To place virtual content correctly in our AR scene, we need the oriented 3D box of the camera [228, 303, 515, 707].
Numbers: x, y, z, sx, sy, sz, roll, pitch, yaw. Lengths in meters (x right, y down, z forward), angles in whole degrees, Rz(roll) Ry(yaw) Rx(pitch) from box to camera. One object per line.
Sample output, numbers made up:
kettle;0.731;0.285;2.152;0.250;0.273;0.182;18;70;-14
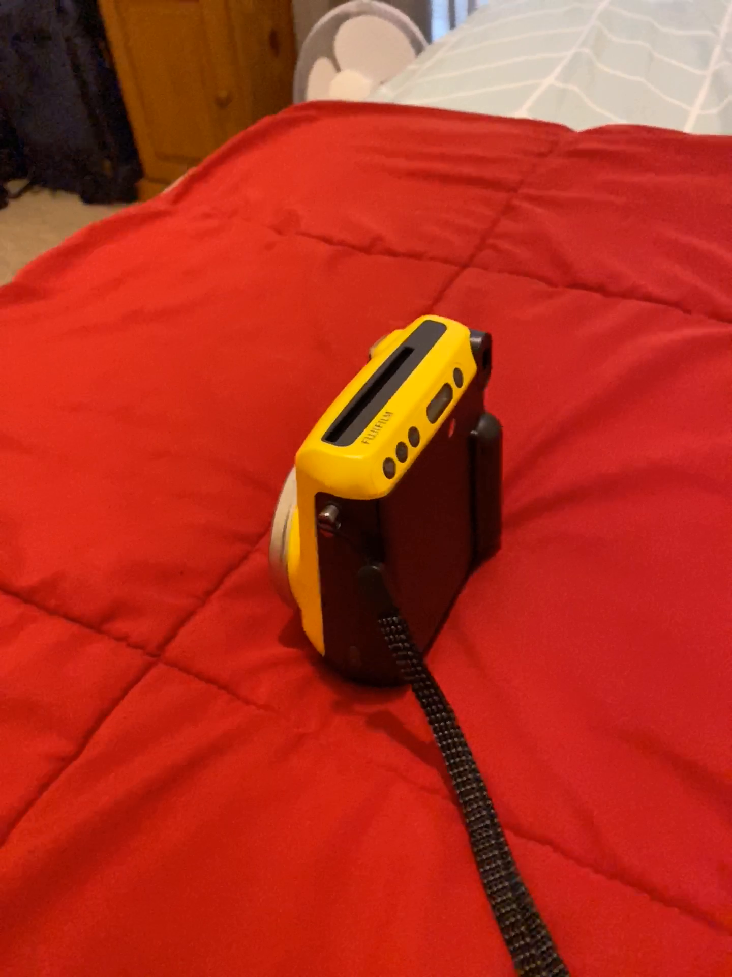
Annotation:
camera;0.009;0.004;0.282;0.057;0.103;0.095;17;46;23
